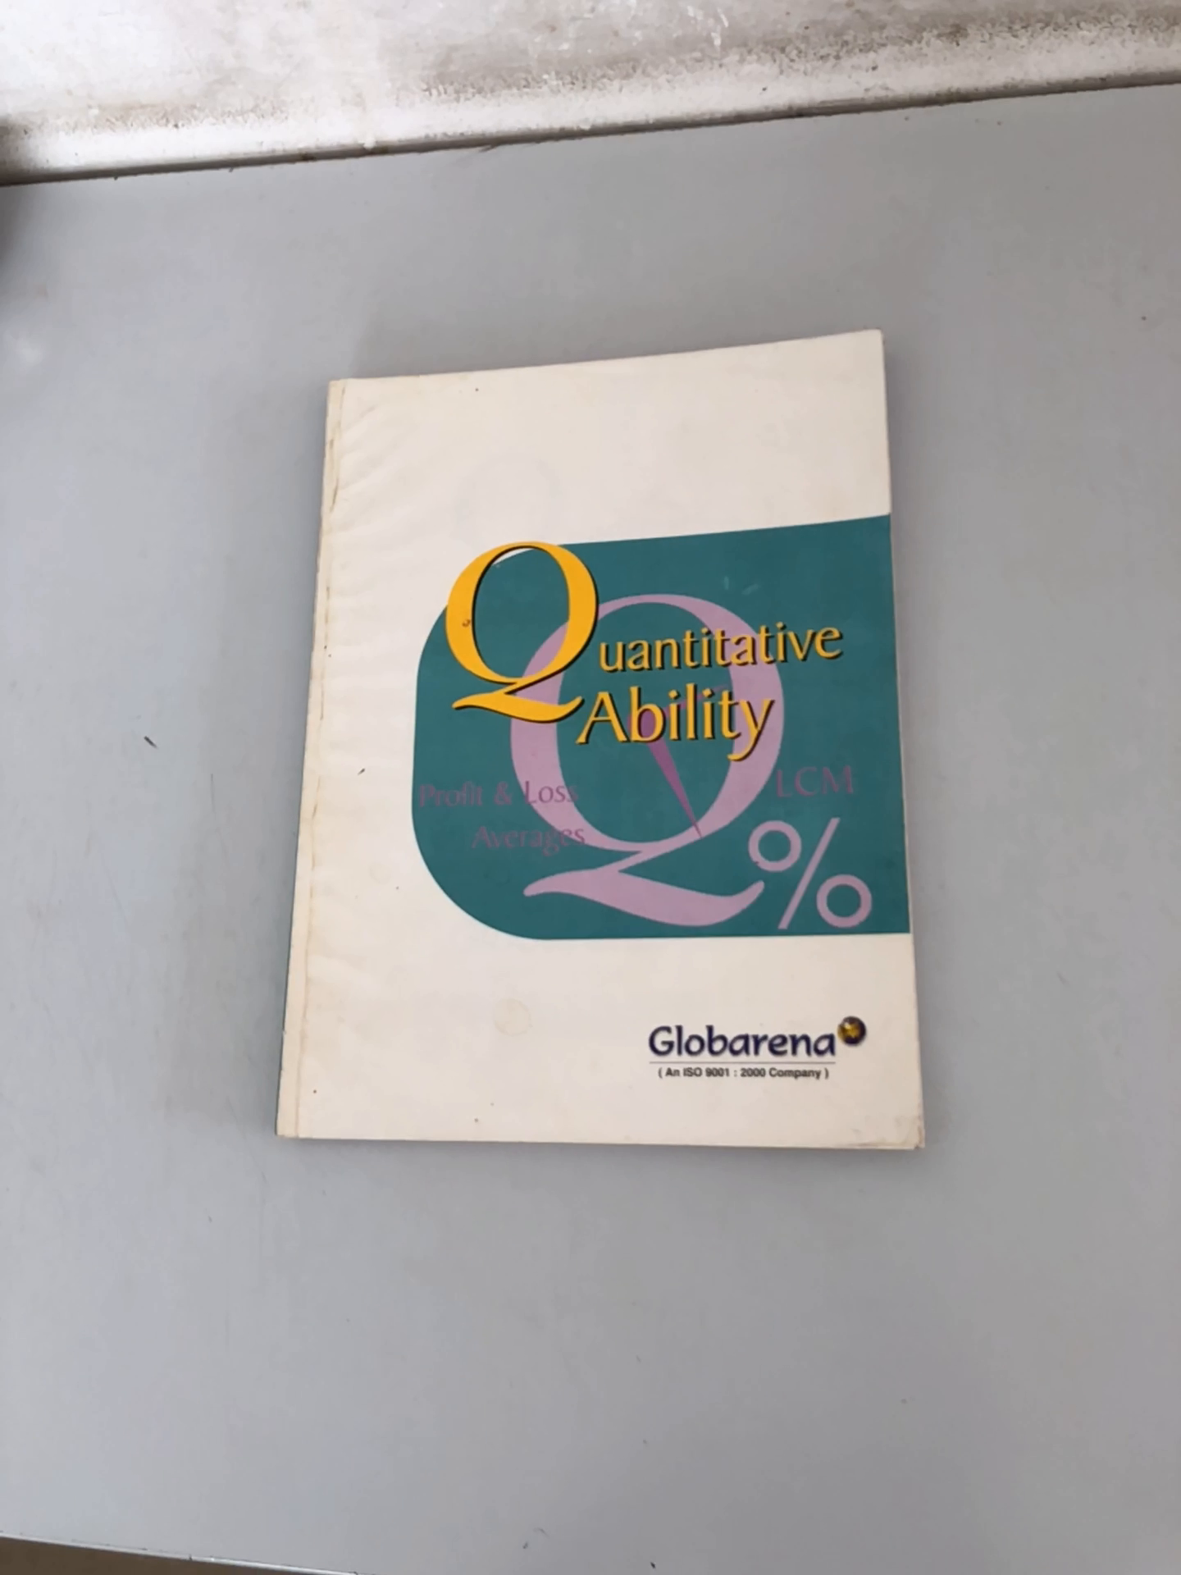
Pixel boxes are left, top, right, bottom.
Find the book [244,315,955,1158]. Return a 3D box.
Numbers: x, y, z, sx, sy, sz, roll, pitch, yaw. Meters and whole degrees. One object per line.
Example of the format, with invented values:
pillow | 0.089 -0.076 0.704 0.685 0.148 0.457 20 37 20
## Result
book | 0.001 -0.018 0.386 0.190 0.020 0.240 -2 76 10
